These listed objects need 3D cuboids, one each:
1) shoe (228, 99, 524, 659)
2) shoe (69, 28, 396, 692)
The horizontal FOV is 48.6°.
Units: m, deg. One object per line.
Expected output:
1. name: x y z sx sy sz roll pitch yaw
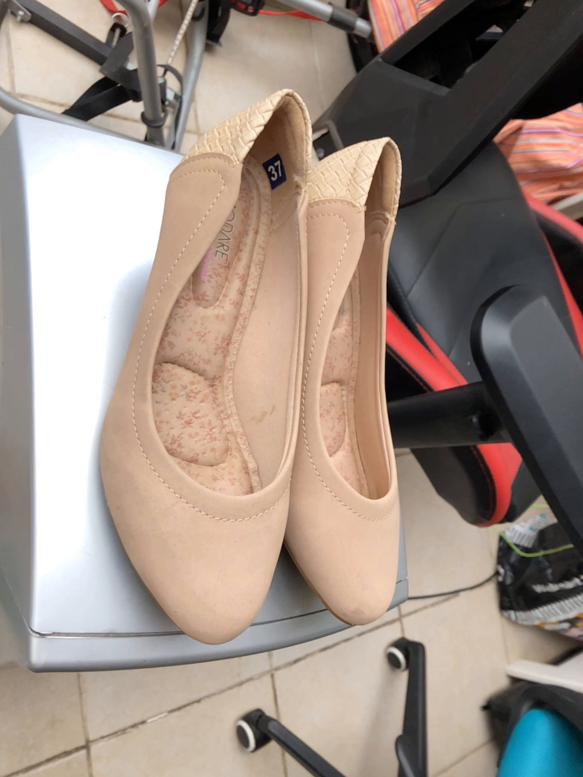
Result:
1. shoe: 0.037 -0.001 0.351 0.091 0.119 0.244 5 79 -37
2. shoe: -0.026 -0.008 0.303 0.090 0.119 0.244 11 75 -36
